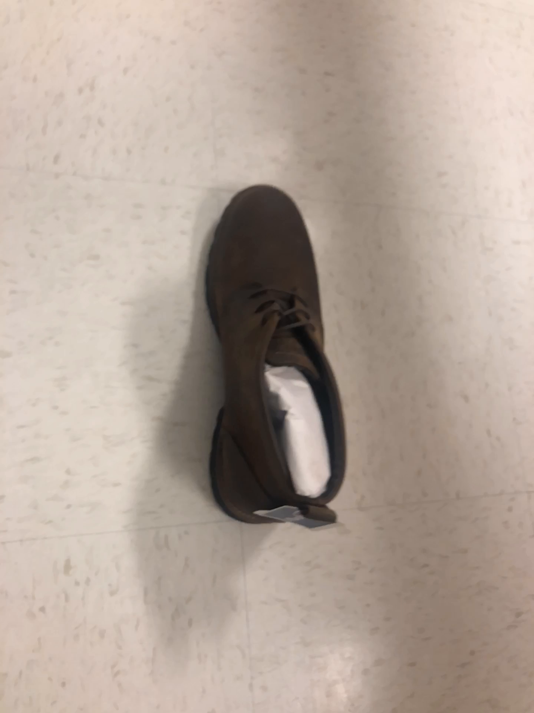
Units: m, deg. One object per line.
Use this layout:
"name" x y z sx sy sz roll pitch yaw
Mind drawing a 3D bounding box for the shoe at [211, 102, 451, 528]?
"shoe" 0.033 -0.014 0.472 0.115 0.167 0.283 4 74 -19
